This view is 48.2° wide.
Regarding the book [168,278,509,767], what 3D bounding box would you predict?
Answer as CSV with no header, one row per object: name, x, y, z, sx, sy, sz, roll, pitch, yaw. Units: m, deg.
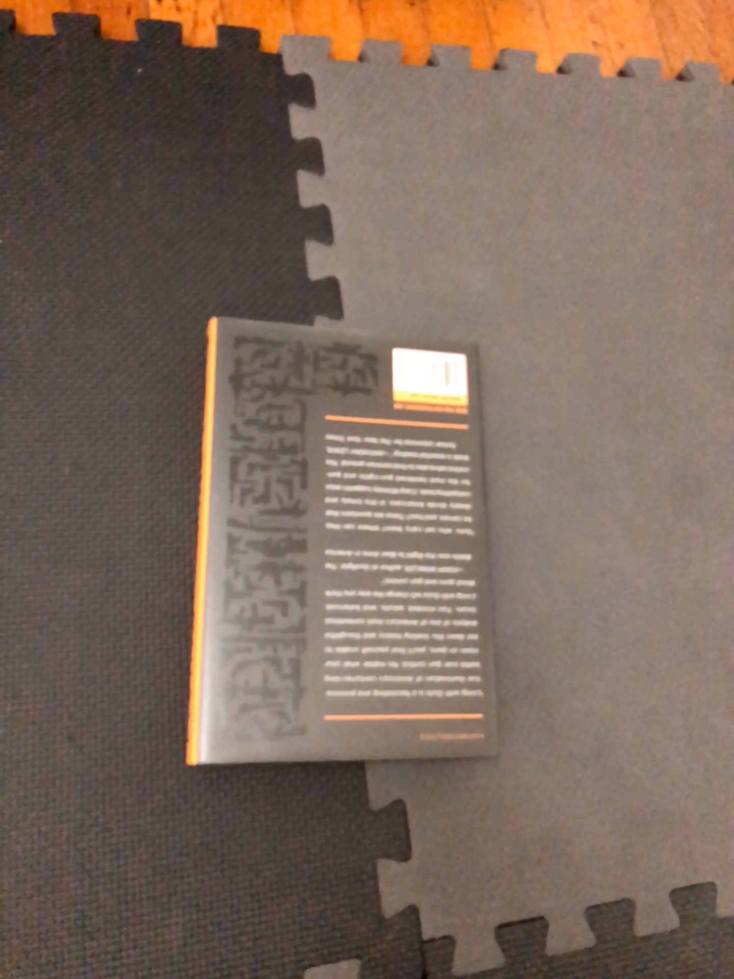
book,-0.015,0.016,0.459,0.170,0.040,0.260,4,73,-12
